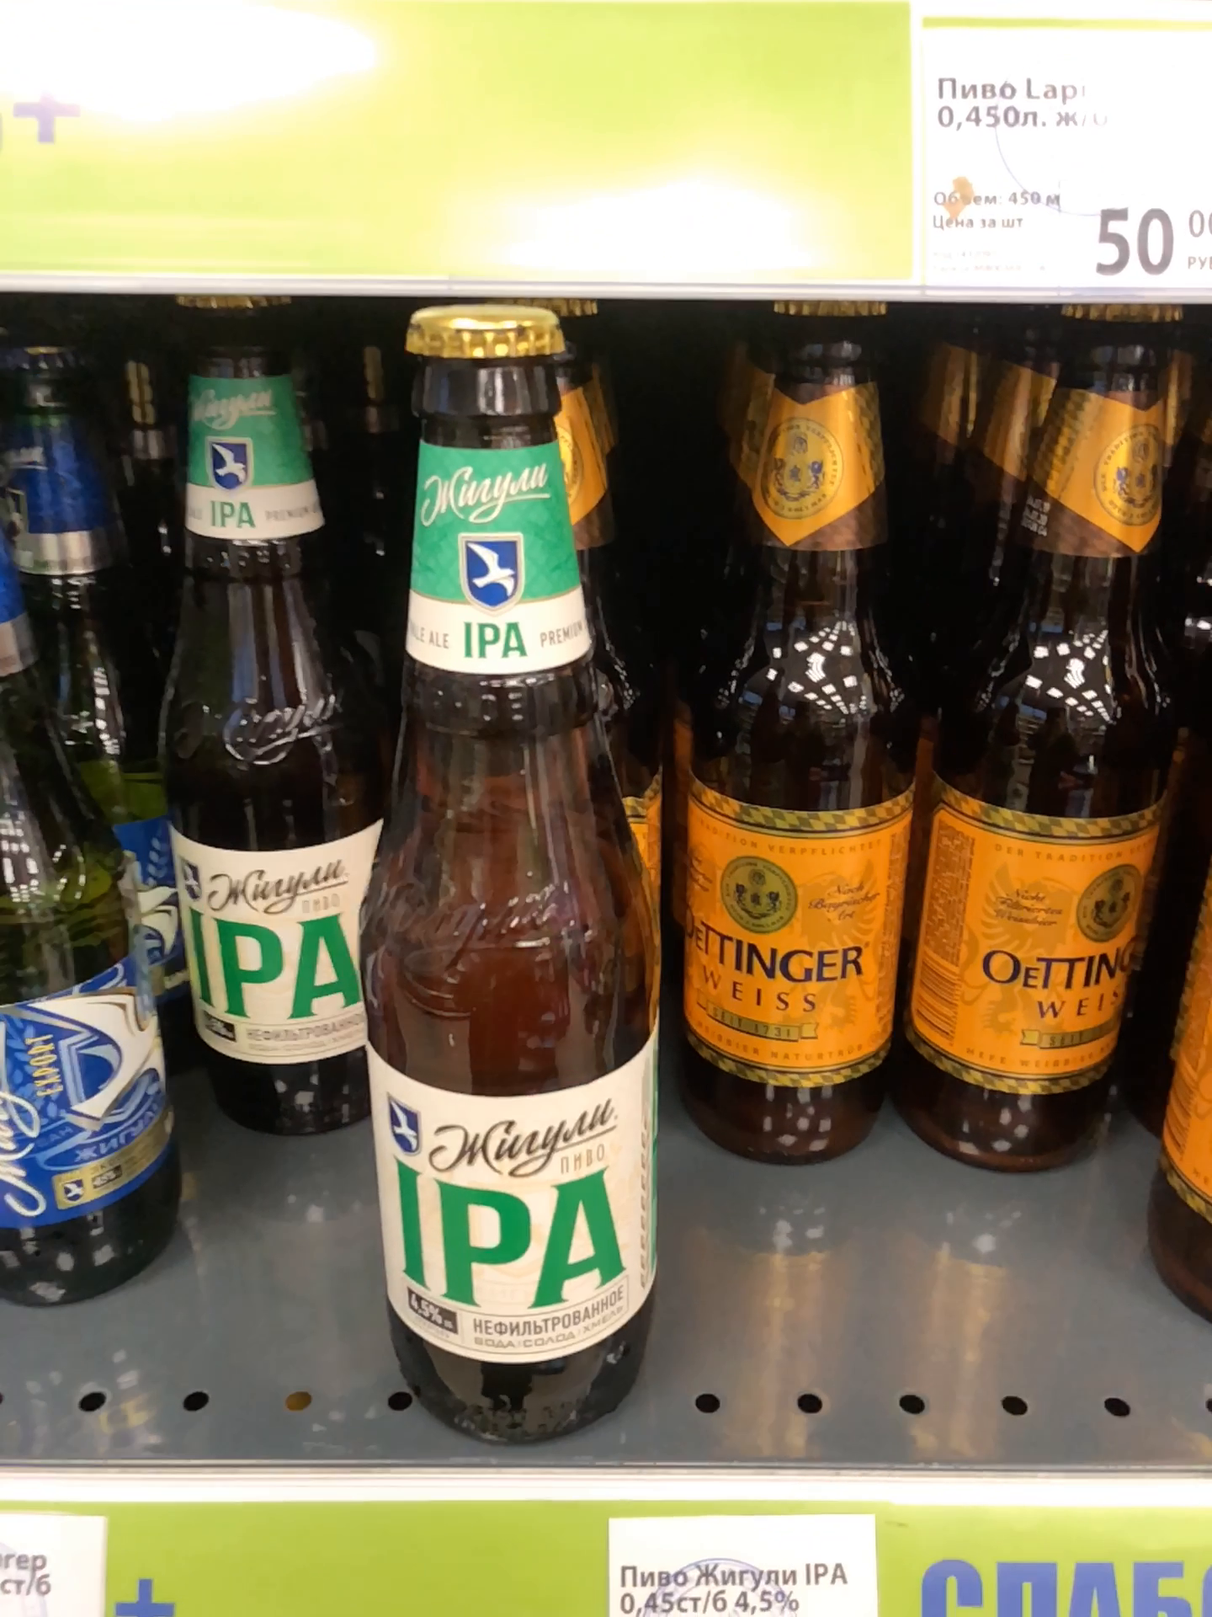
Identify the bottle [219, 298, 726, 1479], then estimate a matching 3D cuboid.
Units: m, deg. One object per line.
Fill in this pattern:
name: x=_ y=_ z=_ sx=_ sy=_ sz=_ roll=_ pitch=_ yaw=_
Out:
bottle: x=-0.022 y=0.028 z=0.297 sx=0.080 sy=0.258 sz=0.070 roll=1 pitch=25 yaw=0
